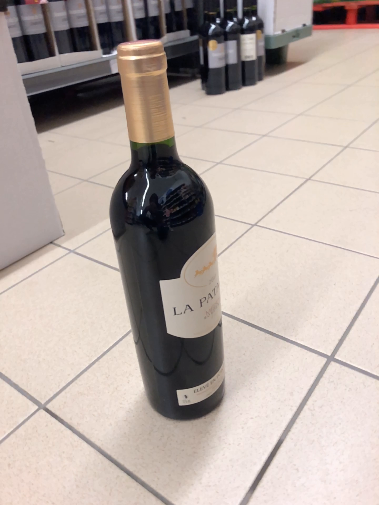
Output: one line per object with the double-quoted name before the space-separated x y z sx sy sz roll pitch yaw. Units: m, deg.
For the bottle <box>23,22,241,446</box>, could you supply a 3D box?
"bottle" -0.019 0.001 0.307 0.080 0.288 0.091 11 35 25
